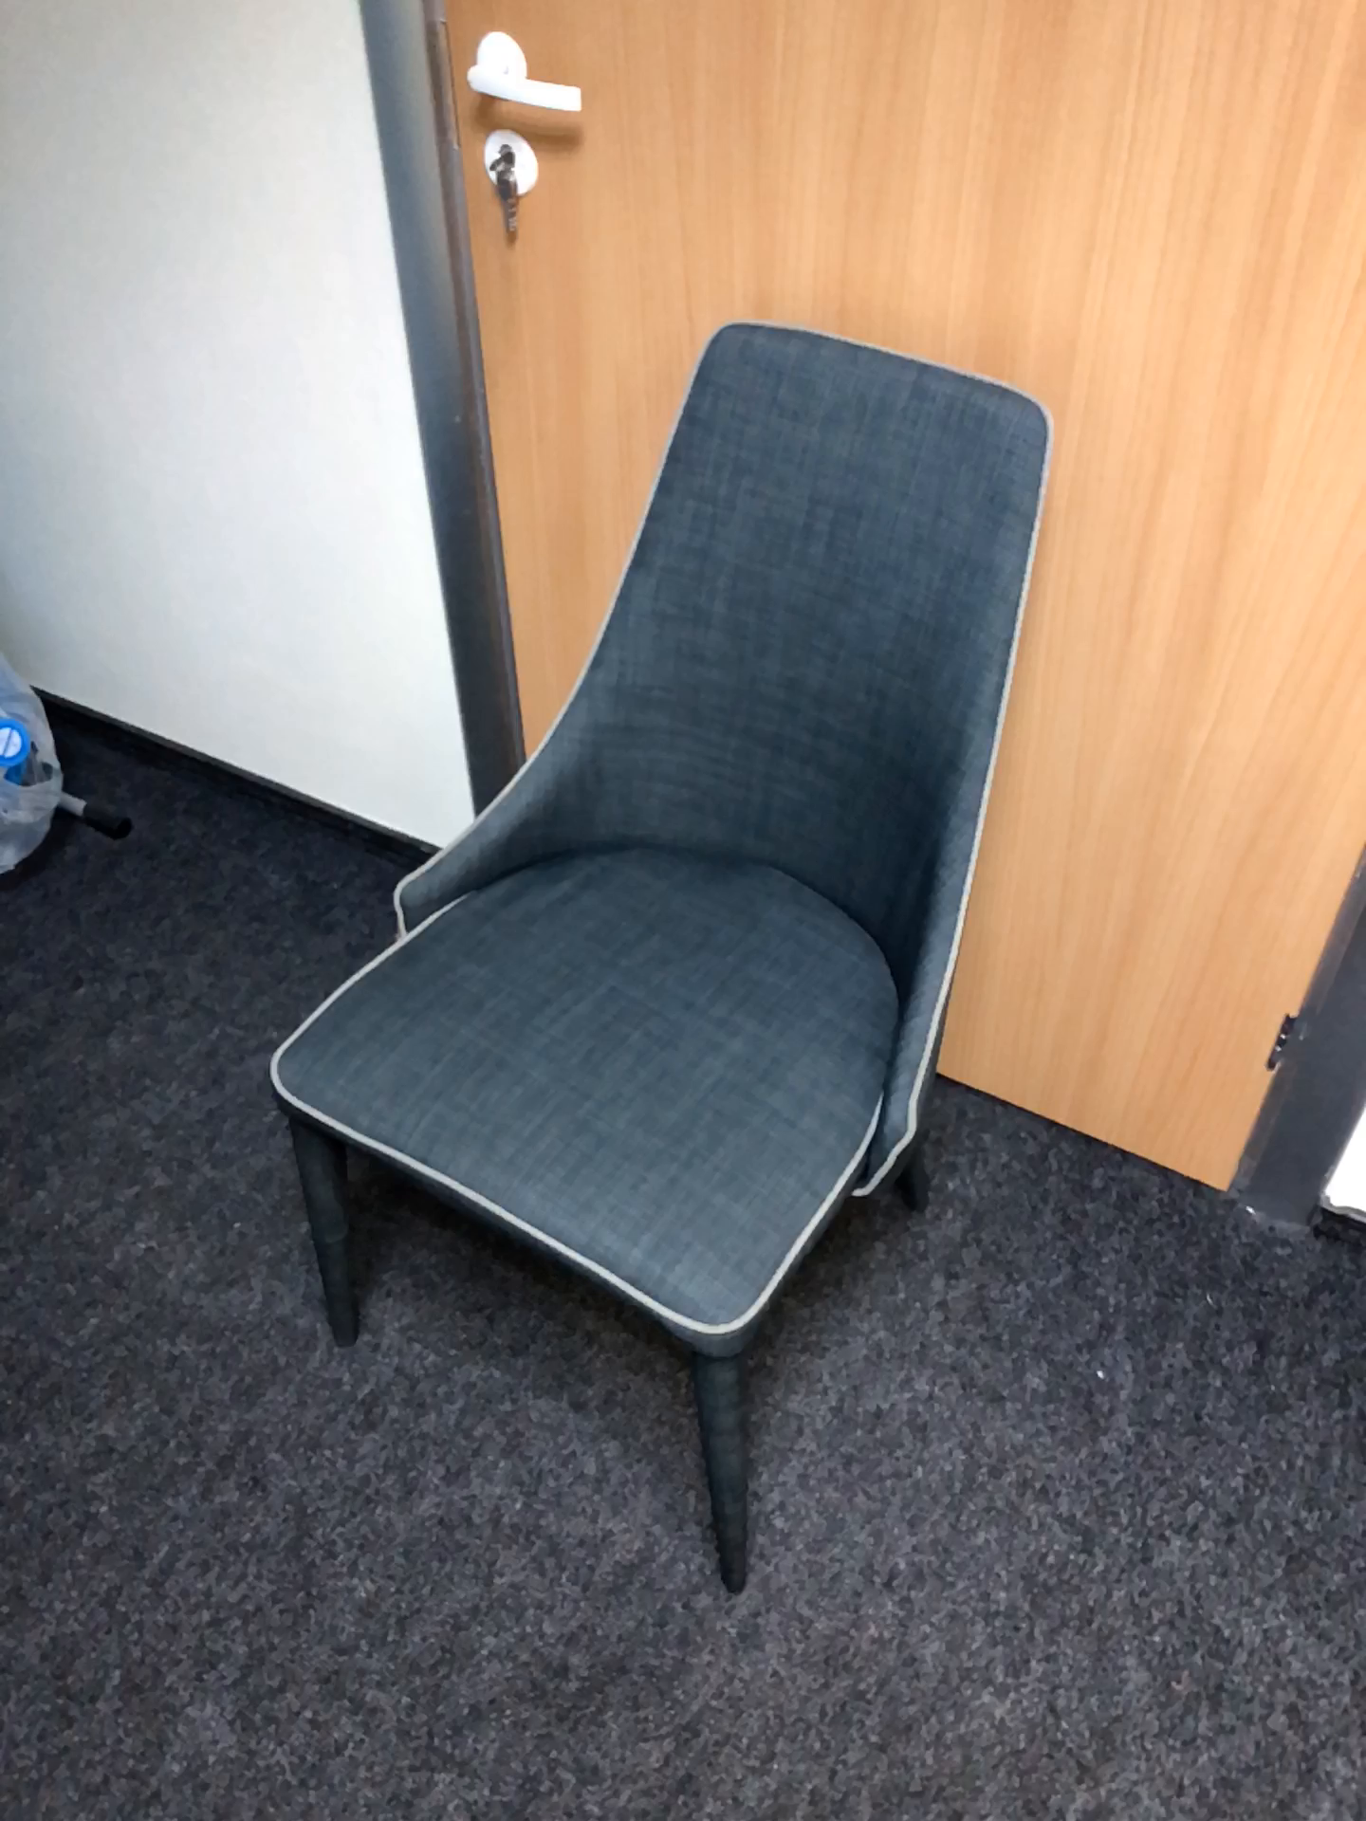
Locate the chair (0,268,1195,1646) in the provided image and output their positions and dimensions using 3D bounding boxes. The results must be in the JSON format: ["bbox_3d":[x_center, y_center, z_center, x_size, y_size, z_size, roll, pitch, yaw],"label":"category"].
[{"bbox_3d":[-0.014,0.036,1.280,0.521,0.845,0.643,23,48,23],"label":"chair"}]
